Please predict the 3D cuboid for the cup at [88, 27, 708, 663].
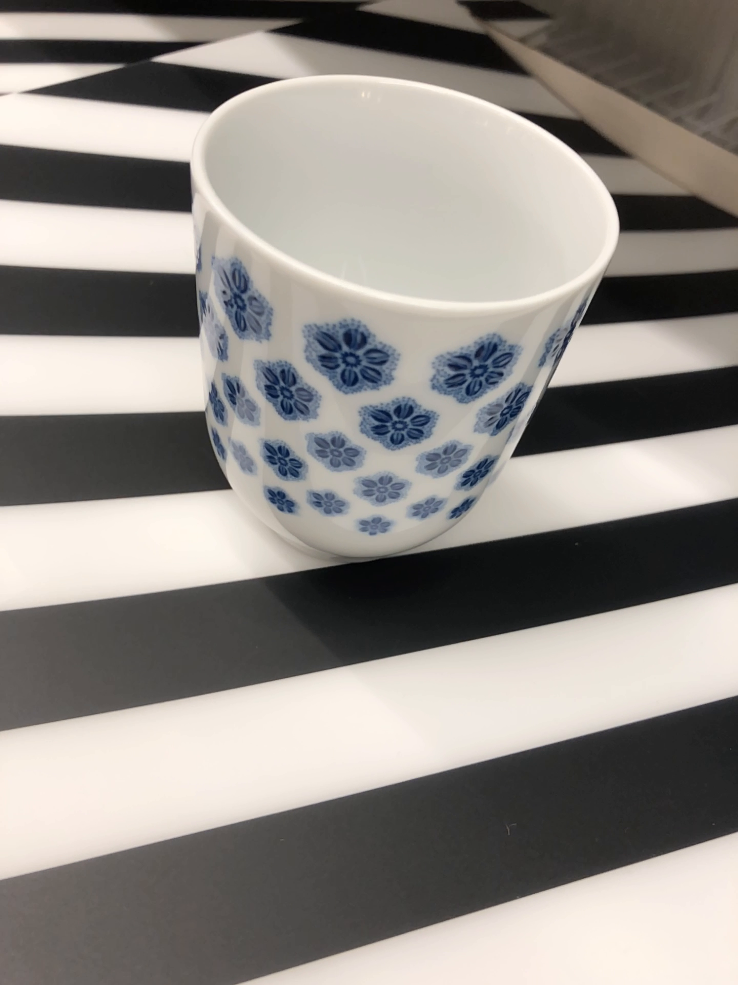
[{"bbox_3d":[0.002,-0.032,0.170,0.070,0.080,0.080,41,53,22],"label":"cup"}]
